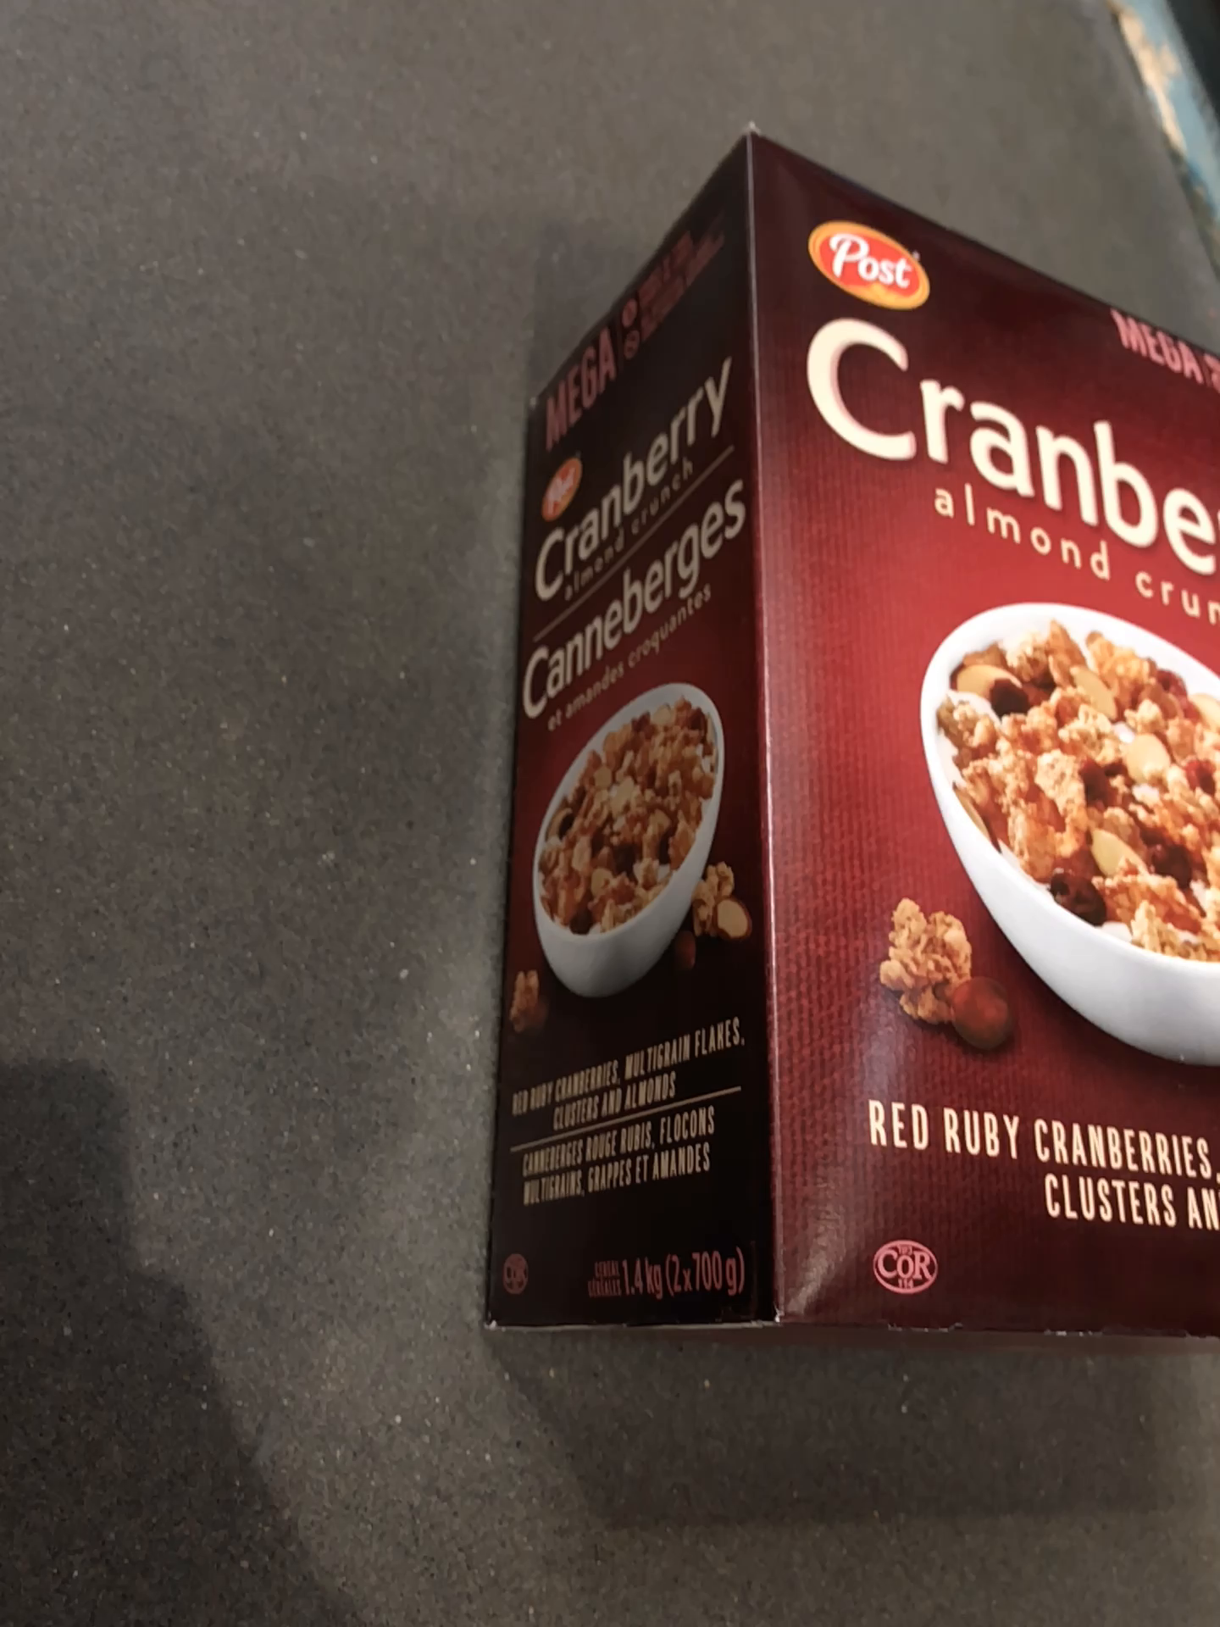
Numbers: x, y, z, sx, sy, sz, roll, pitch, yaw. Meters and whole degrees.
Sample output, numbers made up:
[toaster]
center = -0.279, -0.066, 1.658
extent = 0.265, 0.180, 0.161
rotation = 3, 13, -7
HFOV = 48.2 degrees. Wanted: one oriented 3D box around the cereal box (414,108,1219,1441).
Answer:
[cereal box]
center = 0.103, 0.009, 0.405
extent = 0.261, 0.130, 0.310
rotation = 14, 65, -26
